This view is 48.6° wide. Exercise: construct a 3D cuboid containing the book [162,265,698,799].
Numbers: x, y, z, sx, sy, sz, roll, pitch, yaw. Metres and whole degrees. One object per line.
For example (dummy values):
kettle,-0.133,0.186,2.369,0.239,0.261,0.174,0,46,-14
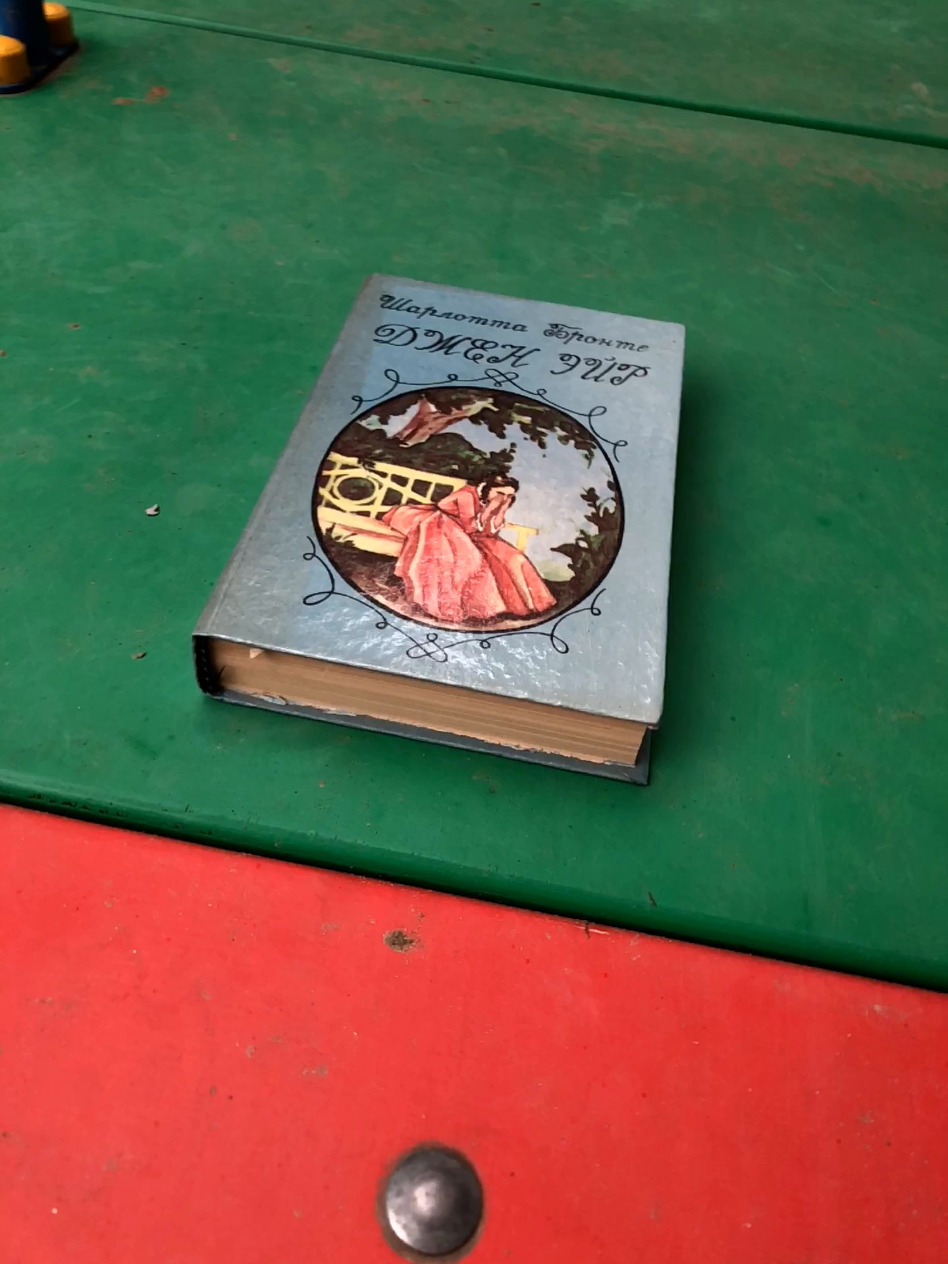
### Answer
book,0.001,-0.048,0.345,0.135,0.030,0.196,10,48,3
